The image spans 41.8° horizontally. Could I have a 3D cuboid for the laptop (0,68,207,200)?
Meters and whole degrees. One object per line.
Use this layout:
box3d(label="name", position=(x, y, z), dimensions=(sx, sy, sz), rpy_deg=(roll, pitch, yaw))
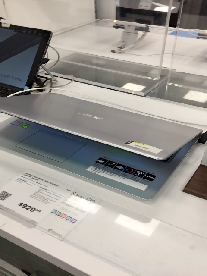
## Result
box3d(label="laptop", position=(-0.037, -0.040, 0.542), dimensions=(0.382, 0.083, 0.225), rpy_deg=(18, 41, 27))
